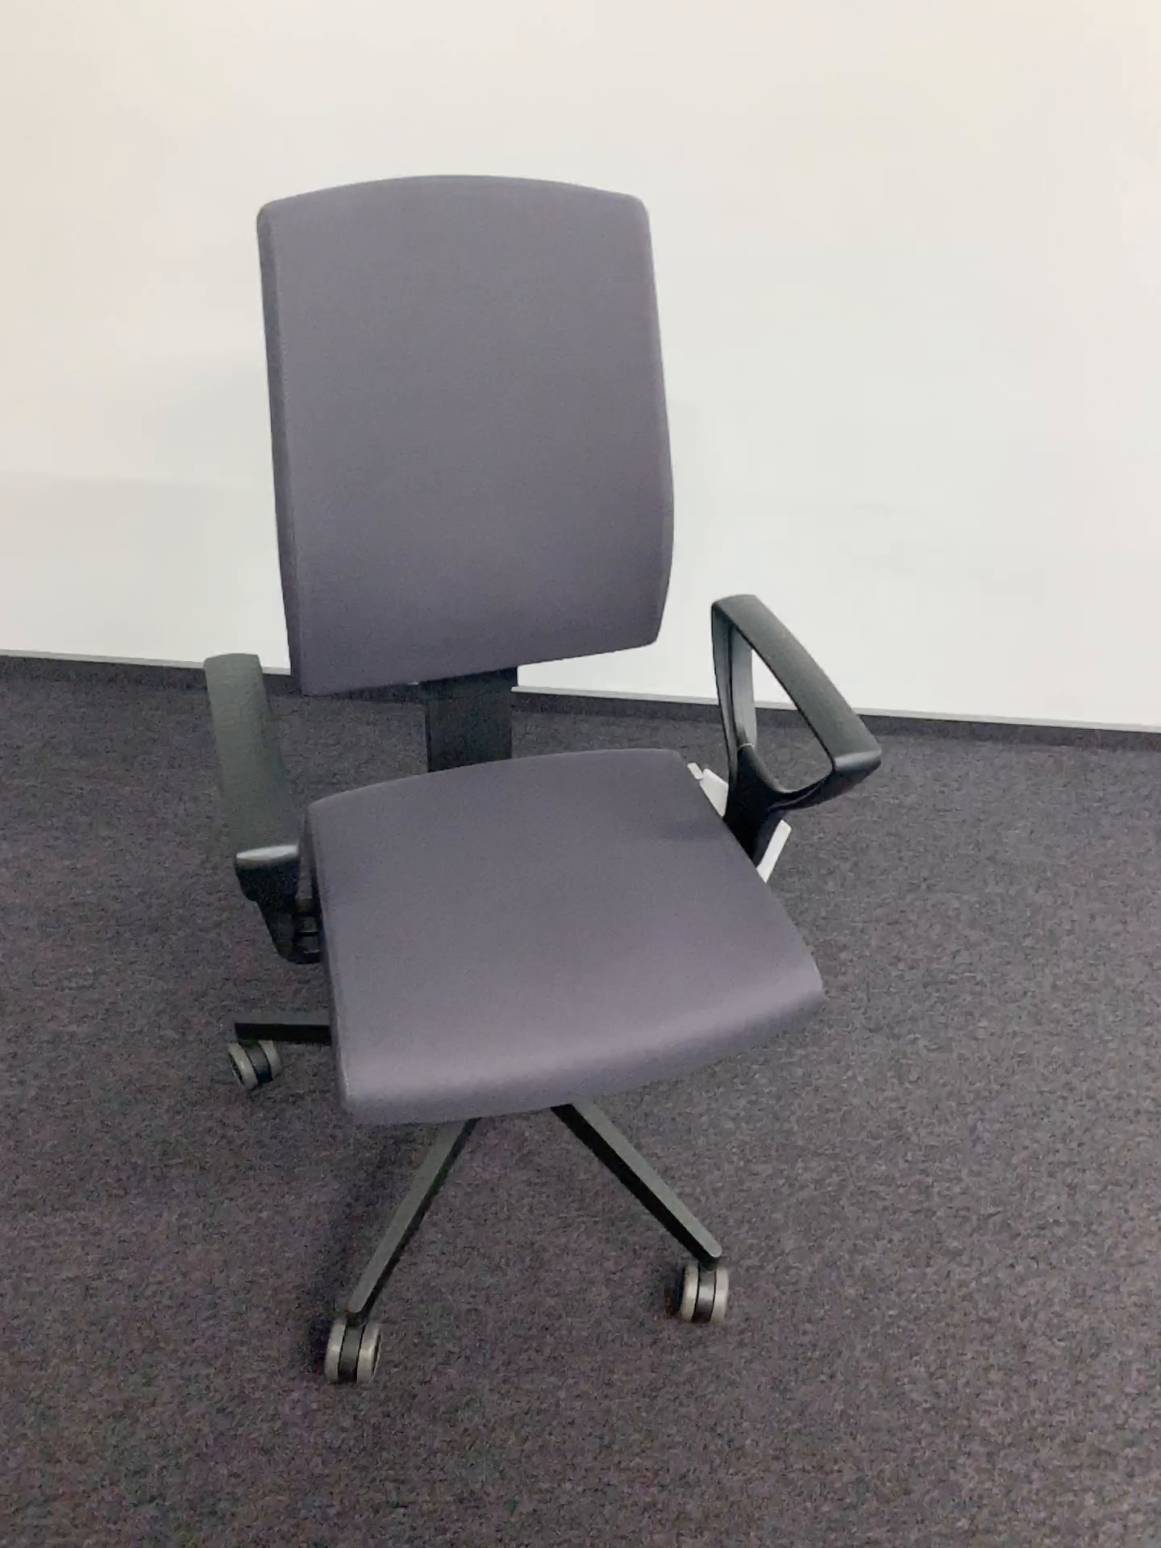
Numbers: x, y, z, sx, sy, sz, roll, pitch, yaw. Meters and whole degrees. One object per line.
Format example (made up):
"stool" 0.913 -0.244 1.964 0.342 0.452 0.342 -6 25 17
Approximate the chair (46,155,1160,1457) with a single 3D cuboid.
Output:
"chair" -0.067 0.011 1.263 0.701 1.035 0.783 -8 41 -16
